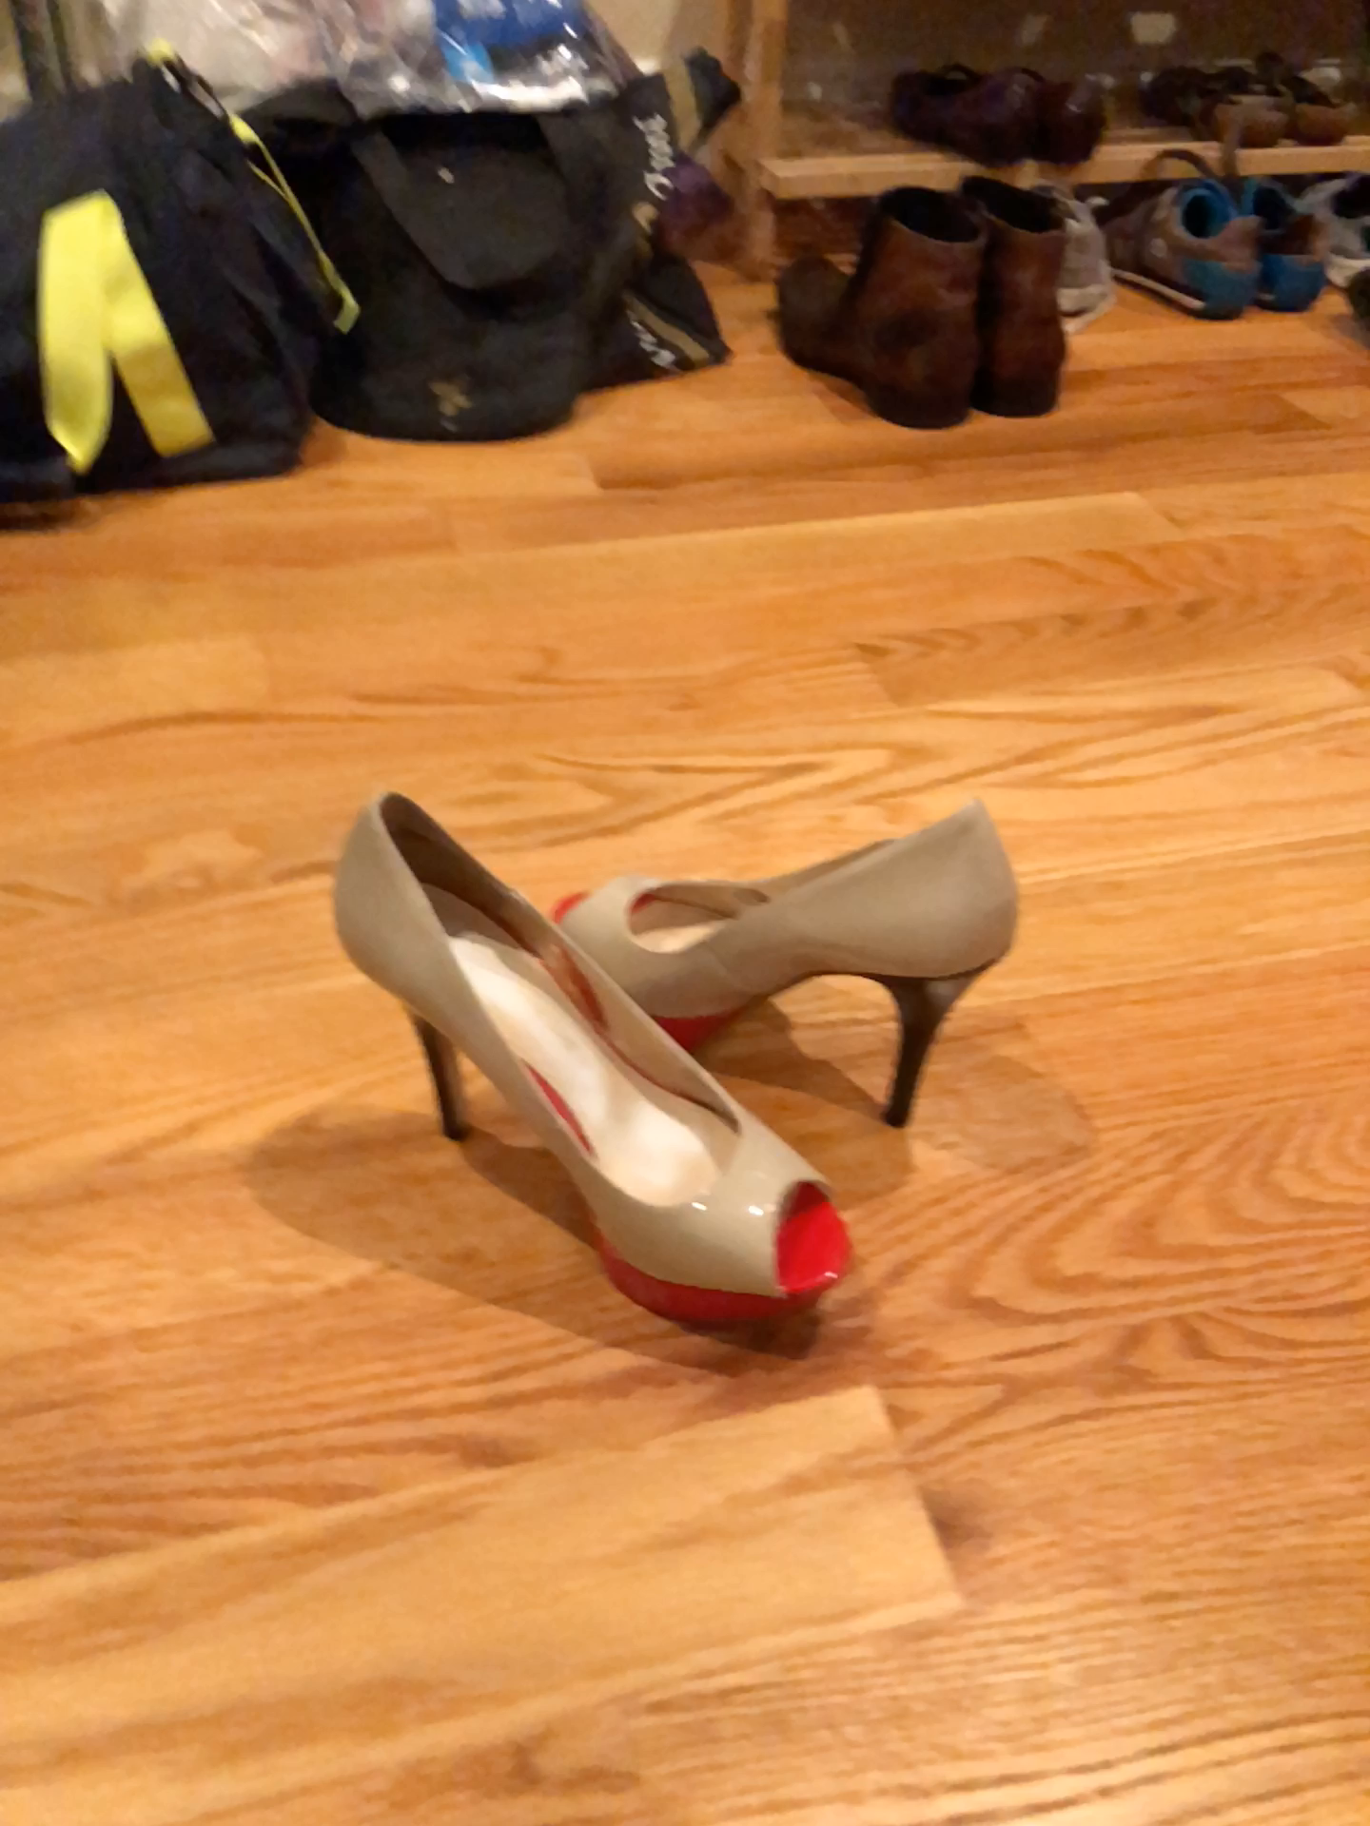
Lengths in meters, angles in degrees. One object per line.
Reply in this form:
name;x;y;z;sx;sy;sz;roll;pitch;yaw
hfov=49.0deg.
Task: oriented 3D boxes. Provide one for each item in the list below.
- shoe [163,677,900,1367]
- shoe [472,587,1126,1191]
shoe;-0.052;0.028;0.493;0.215;0.129;0.085;23;43;25
shoe;0.035;-0.014;0.579;0.220;0.149;0.080;22;43;24
